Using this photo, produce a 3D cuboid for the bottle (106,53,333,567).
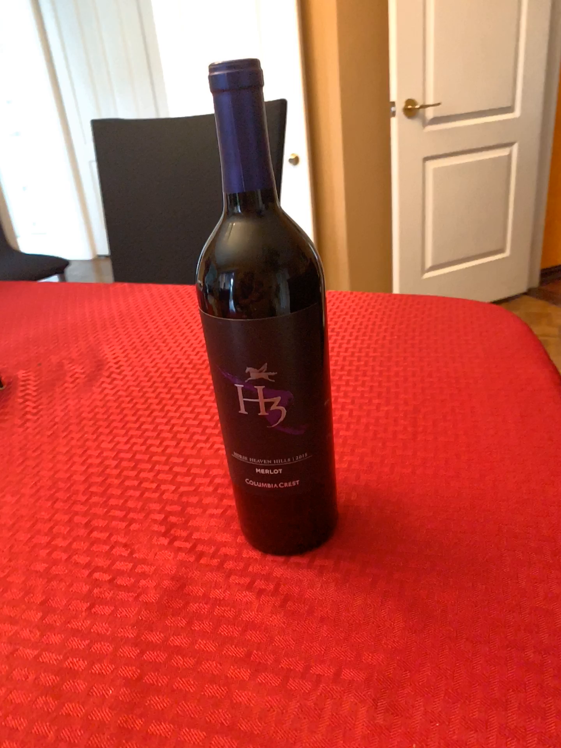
[{"bbox_3d":[-0.019,-0.023,0.348,0.080,0.288,0.080,-5,26,2],"label":"bottle"}]
